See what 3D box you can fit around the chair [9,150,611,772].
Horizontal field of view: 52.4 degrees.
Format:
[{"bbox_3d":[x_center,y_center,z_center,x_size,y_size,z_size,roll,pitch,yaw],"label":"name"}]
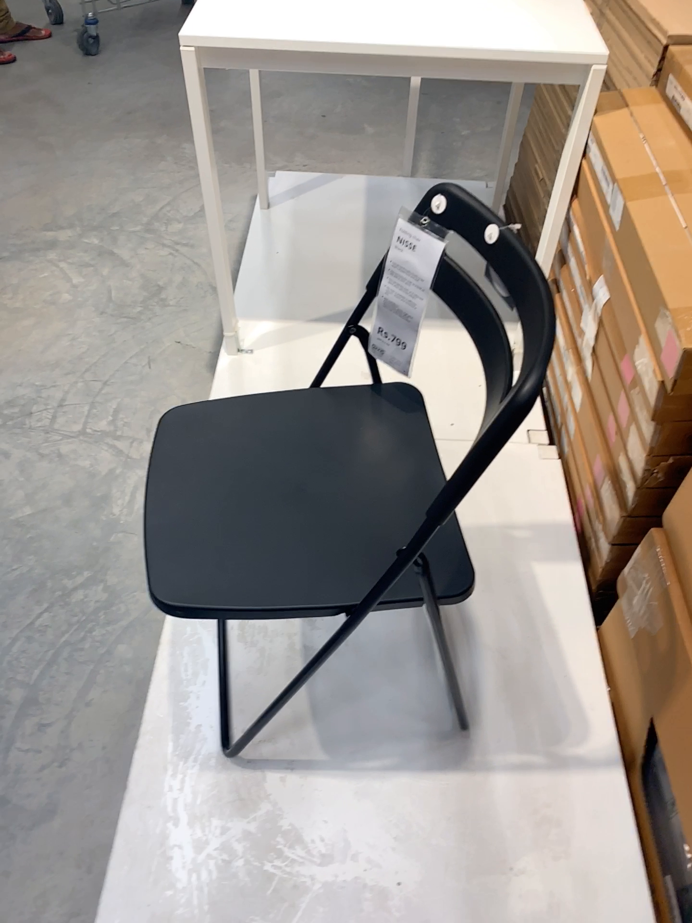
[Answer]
[{"bbox_3d":[-0.053,0.034,0.921,0.450,0.658,0.461,-5,49,-6],"label":"chair"}]
